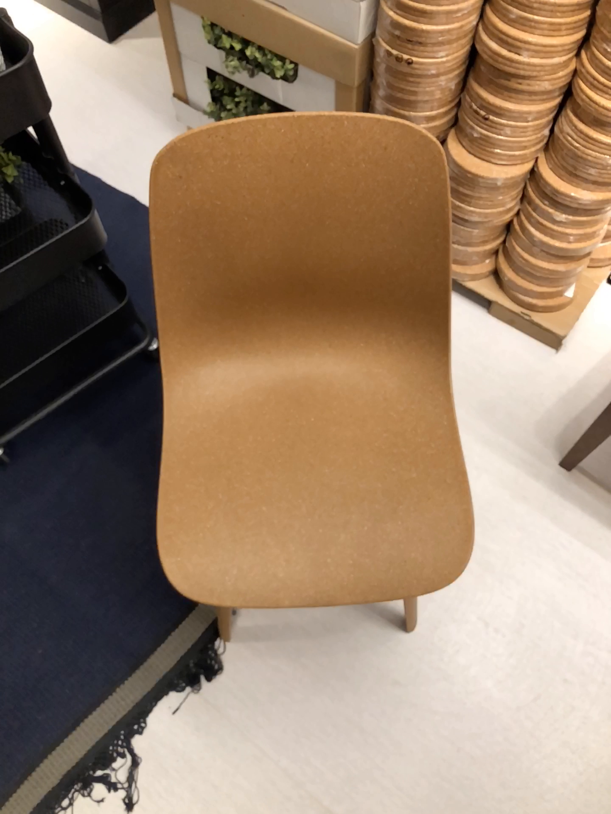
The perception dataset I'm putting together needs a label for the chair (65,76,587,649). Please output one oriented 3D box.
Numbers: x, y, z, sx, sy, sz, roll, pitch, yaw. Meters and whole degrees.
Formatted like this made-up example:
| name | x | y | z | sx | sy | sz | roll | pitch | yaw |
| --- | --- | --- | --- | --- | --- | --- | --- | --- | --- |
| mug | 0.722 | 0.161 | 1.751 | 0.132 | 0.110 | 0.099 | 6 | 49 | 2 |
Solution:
| name | x | y | z | sx | sy | sz | roll | pitch | yaw |
| --- | --- | --- | --- | --- | --- | --- | --- | --- | --- |
| chair | 0.011 | 0.023 | 1.027 | 0.440 | 0.747 | 0.552 | -3 | 64 | 0 |
